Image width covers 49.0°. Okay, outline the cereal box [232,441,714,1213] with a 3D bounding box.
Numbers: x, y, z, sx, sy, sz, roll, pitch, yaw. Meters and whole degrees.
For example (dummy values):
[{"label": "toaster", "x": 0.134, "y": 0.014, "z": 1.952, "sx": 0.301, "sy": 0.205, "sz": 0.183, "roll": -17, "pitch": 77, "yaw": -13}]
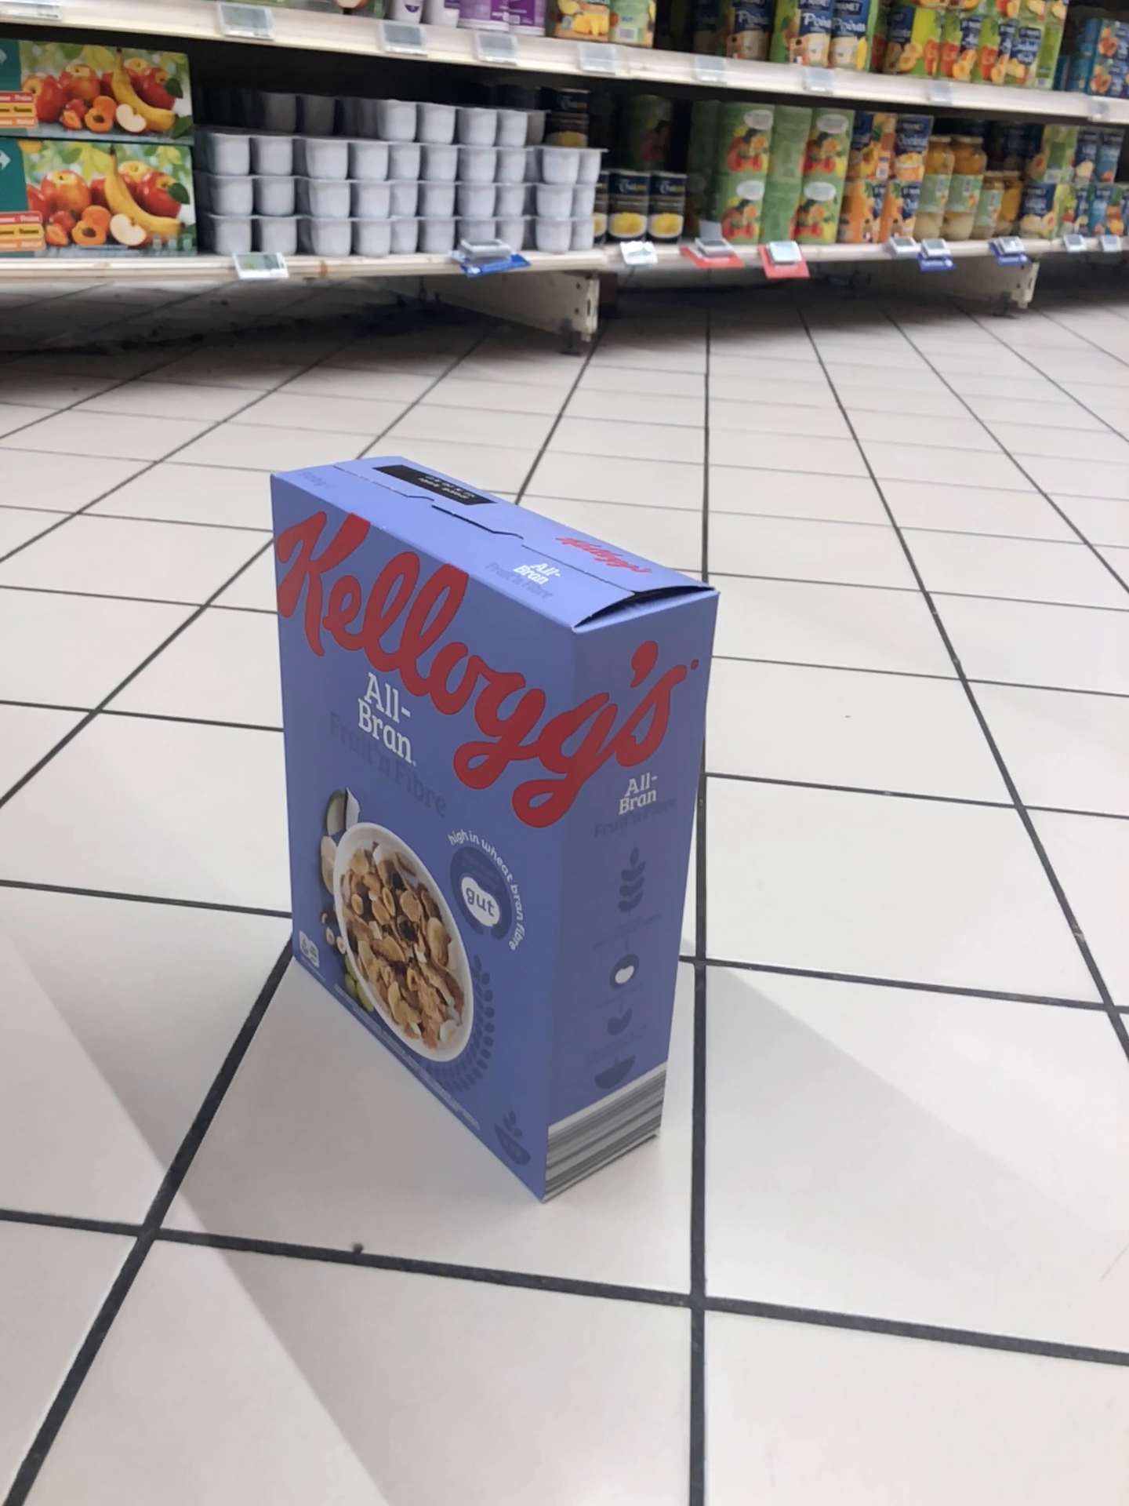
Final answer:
[{"label": "cereal box", "x": -0.049, "y": 0.019, "z": 0.501, "sx": 0.070, "sy": 0.239, "sz": 0.200, "roll": -17, "pitch": 34, "yaw": -36}]
